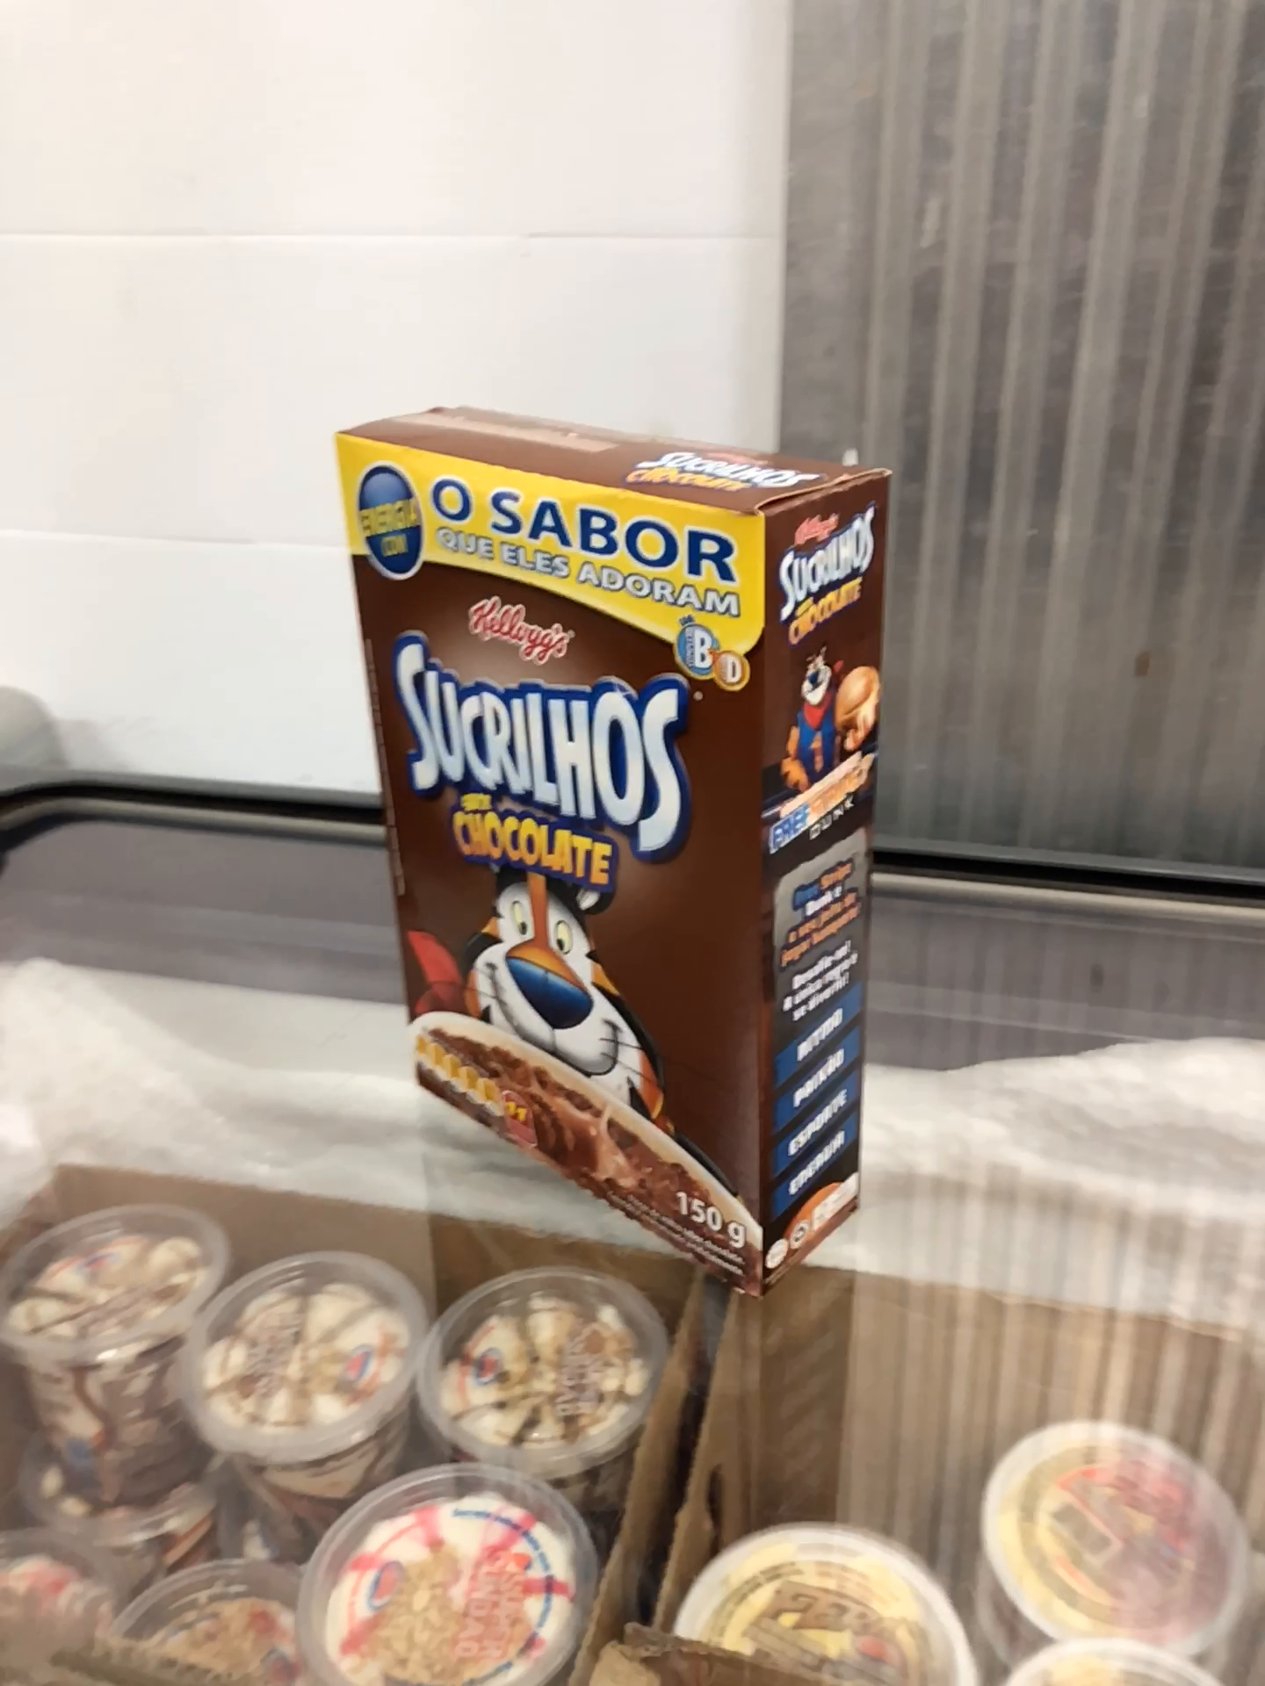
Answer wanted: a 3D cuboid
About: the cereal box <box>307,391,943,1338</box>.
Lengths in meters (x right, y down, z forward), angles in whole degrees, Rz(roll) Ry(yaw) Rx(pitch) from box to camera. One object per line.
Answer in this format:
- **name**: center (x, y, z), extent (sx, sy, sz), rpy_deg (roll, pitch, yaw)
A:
- **cereal box**: center (-0.005, 0.001, 0.367), extent (0.150, 0.208, 0.050), rpy_deg (21, 35, 37)
